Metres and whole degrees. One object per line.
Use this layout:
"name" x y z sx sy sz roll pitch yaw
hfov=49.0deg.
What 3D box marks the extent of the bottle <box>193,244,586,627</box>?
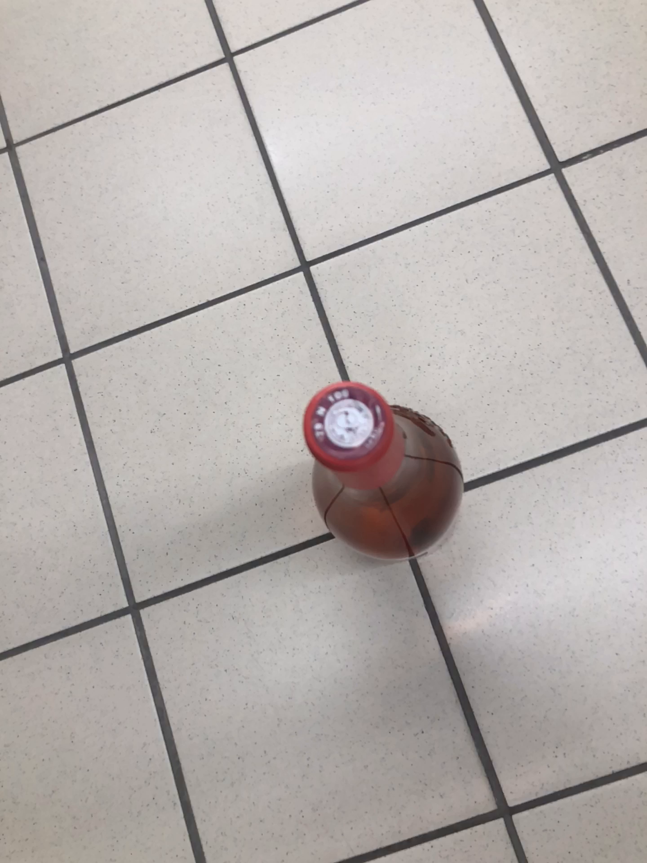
"bottle" 0.039 0.026 0.346 0.090 0.280 0.090 -2 78 8
